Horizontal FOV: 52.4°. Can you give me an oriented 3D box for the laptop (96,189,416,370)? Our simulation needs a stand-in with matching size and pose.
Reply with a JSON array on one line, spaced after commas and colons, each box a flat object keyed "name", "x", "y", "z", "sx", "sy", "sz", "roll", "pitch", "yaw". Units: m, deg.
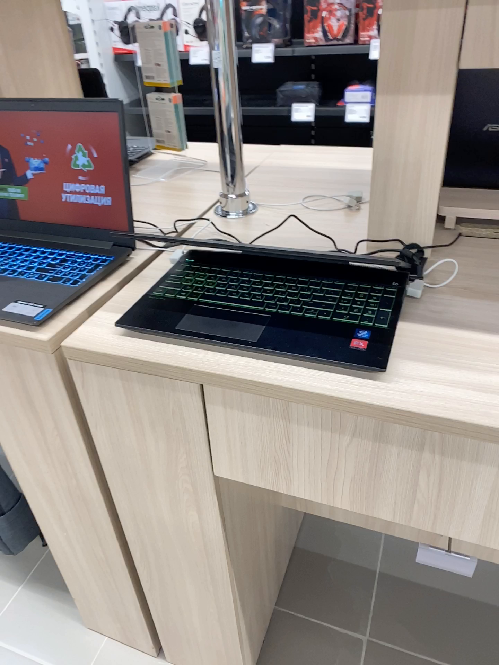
[{"name": "laptop", "x": 0.021, "y": -0.094, "z": 0.694, "sx": 0.365, "sy": 0.108, "sz": 0.235, "roll": 9, "pitch": 36, "yaw": 19}]
